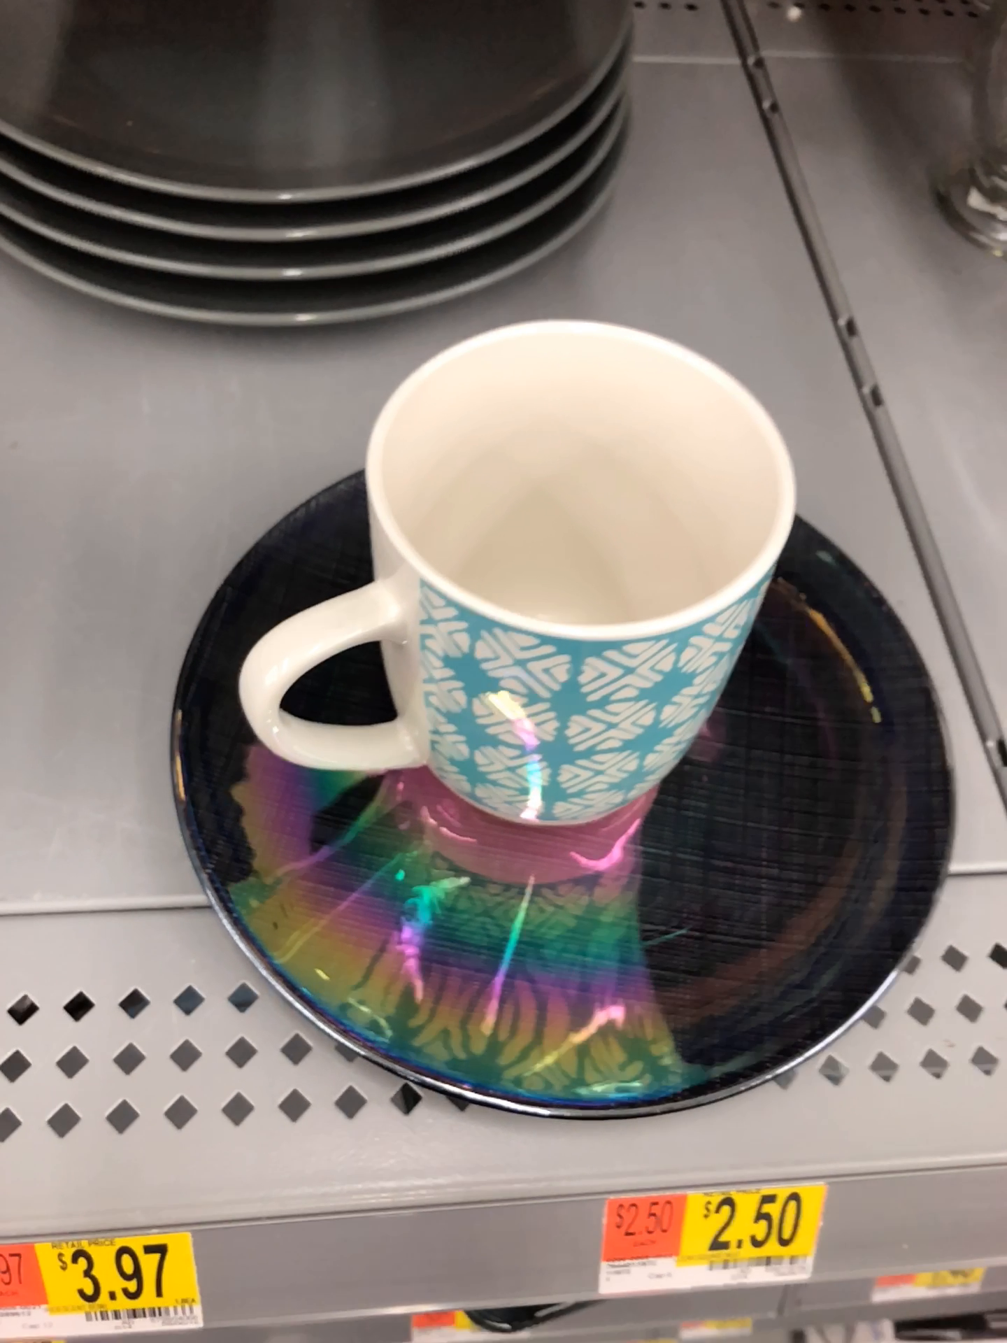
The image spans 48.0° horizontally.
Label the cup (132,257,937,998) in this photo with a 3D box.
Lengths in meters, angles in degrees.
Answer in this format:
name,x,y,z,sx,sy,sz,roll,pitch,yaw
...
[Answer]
name,x,y,z,sx,sy,sz,roll,pitch,yaw
cup,0.002,-0.009,0.250,0.122,0.098,0.089,-21,61,-17
